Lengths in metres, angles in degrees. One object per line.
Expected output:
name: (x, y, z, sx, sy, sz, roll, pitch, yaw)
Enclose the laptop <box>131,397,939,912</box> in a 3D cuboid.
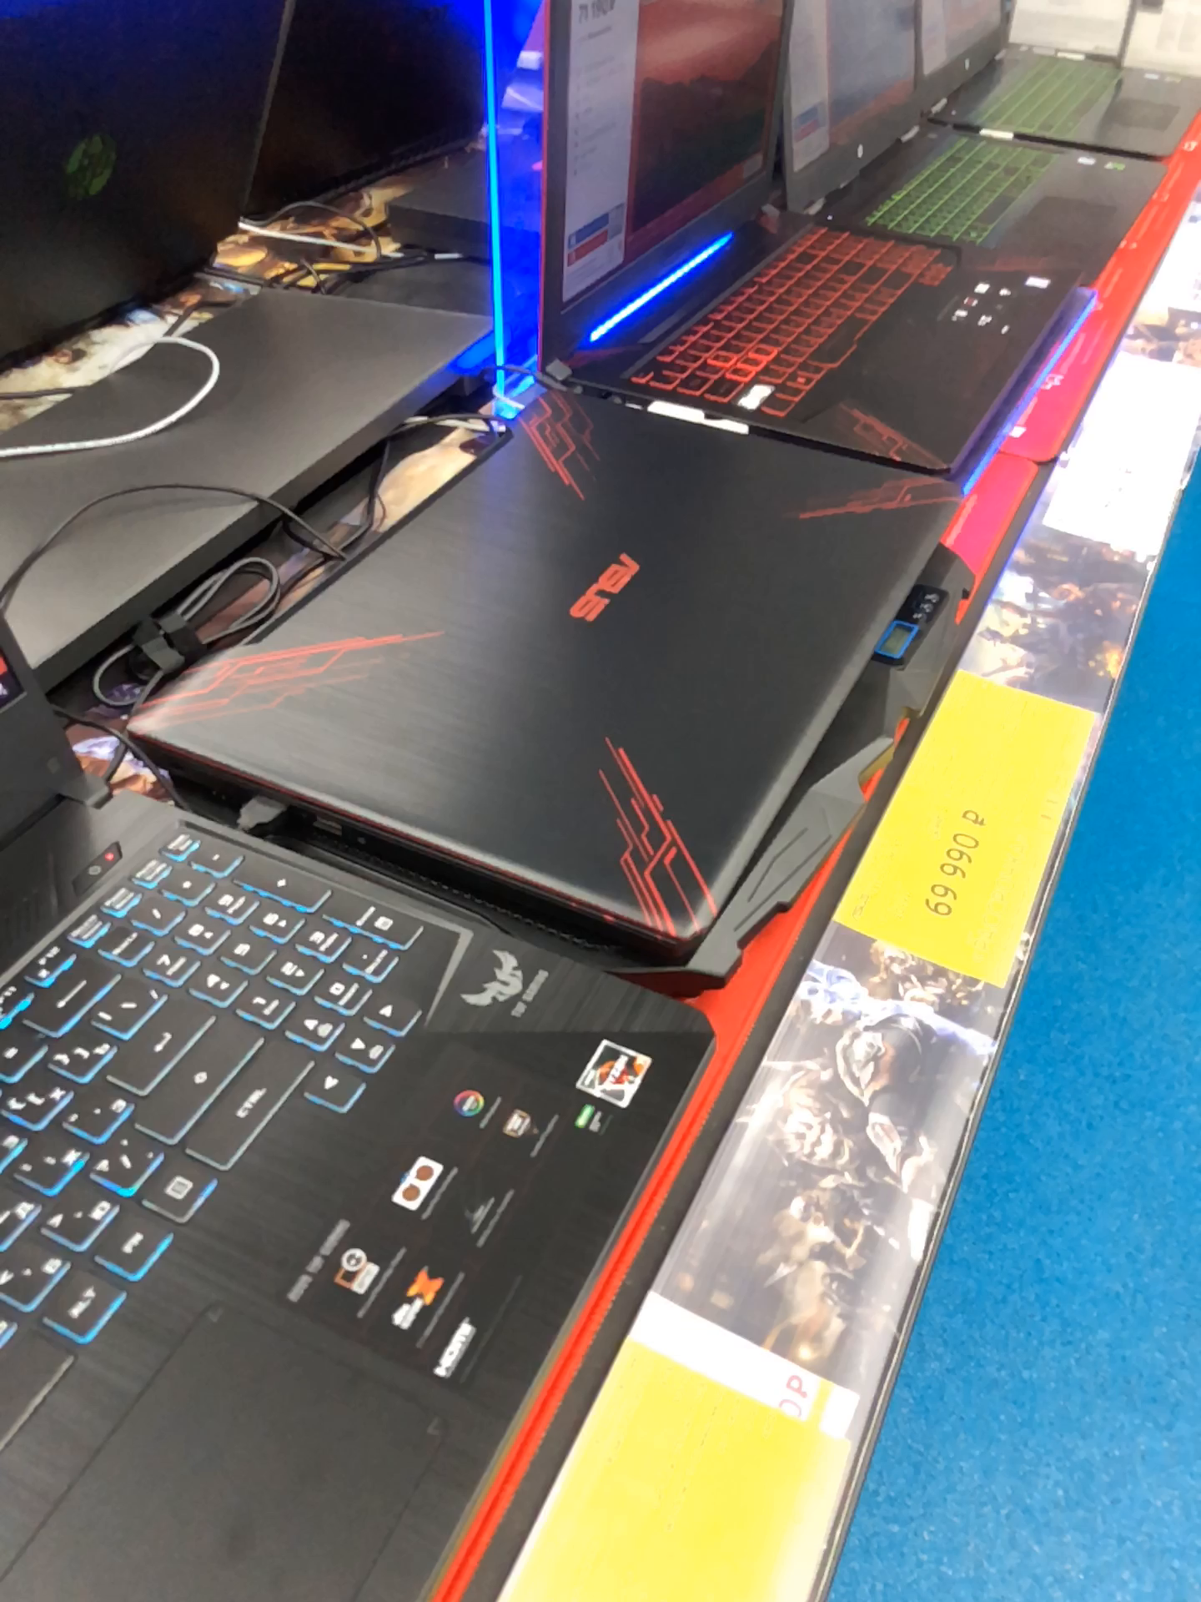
laptop: (-0.008, -0.102, 0.634, 0.239, 0.003, 0.359, 20, 44, 21)
